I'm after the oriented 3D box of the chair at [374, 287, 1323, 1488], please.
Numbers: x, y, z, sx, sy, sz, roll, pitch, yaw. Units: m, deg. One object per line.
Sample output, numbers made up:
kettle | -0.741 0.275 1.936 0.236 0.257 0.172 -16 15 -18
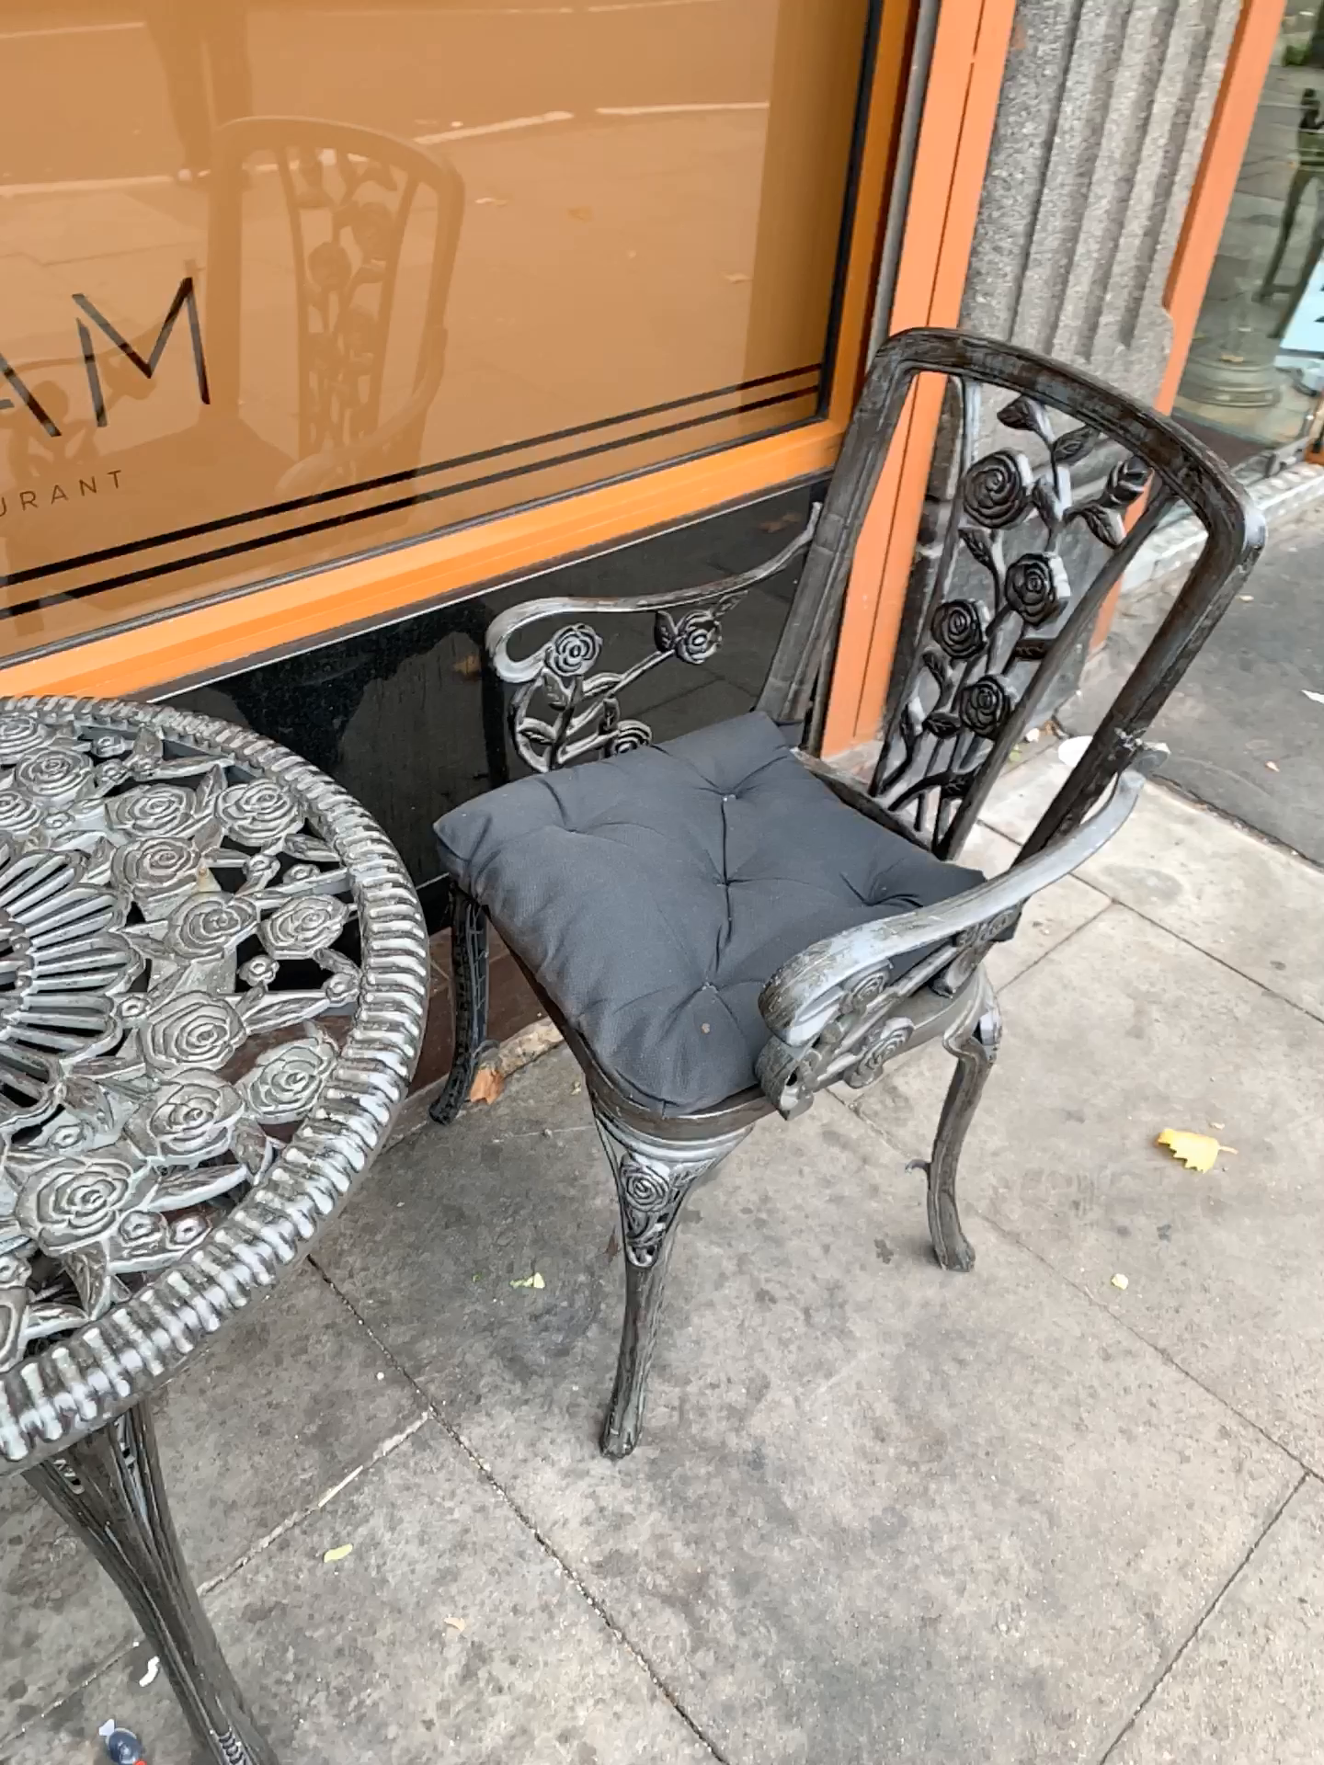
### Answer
chair | 0.099 -0.020 1.235 0.552 0.852 0.493 -18 43 -32
